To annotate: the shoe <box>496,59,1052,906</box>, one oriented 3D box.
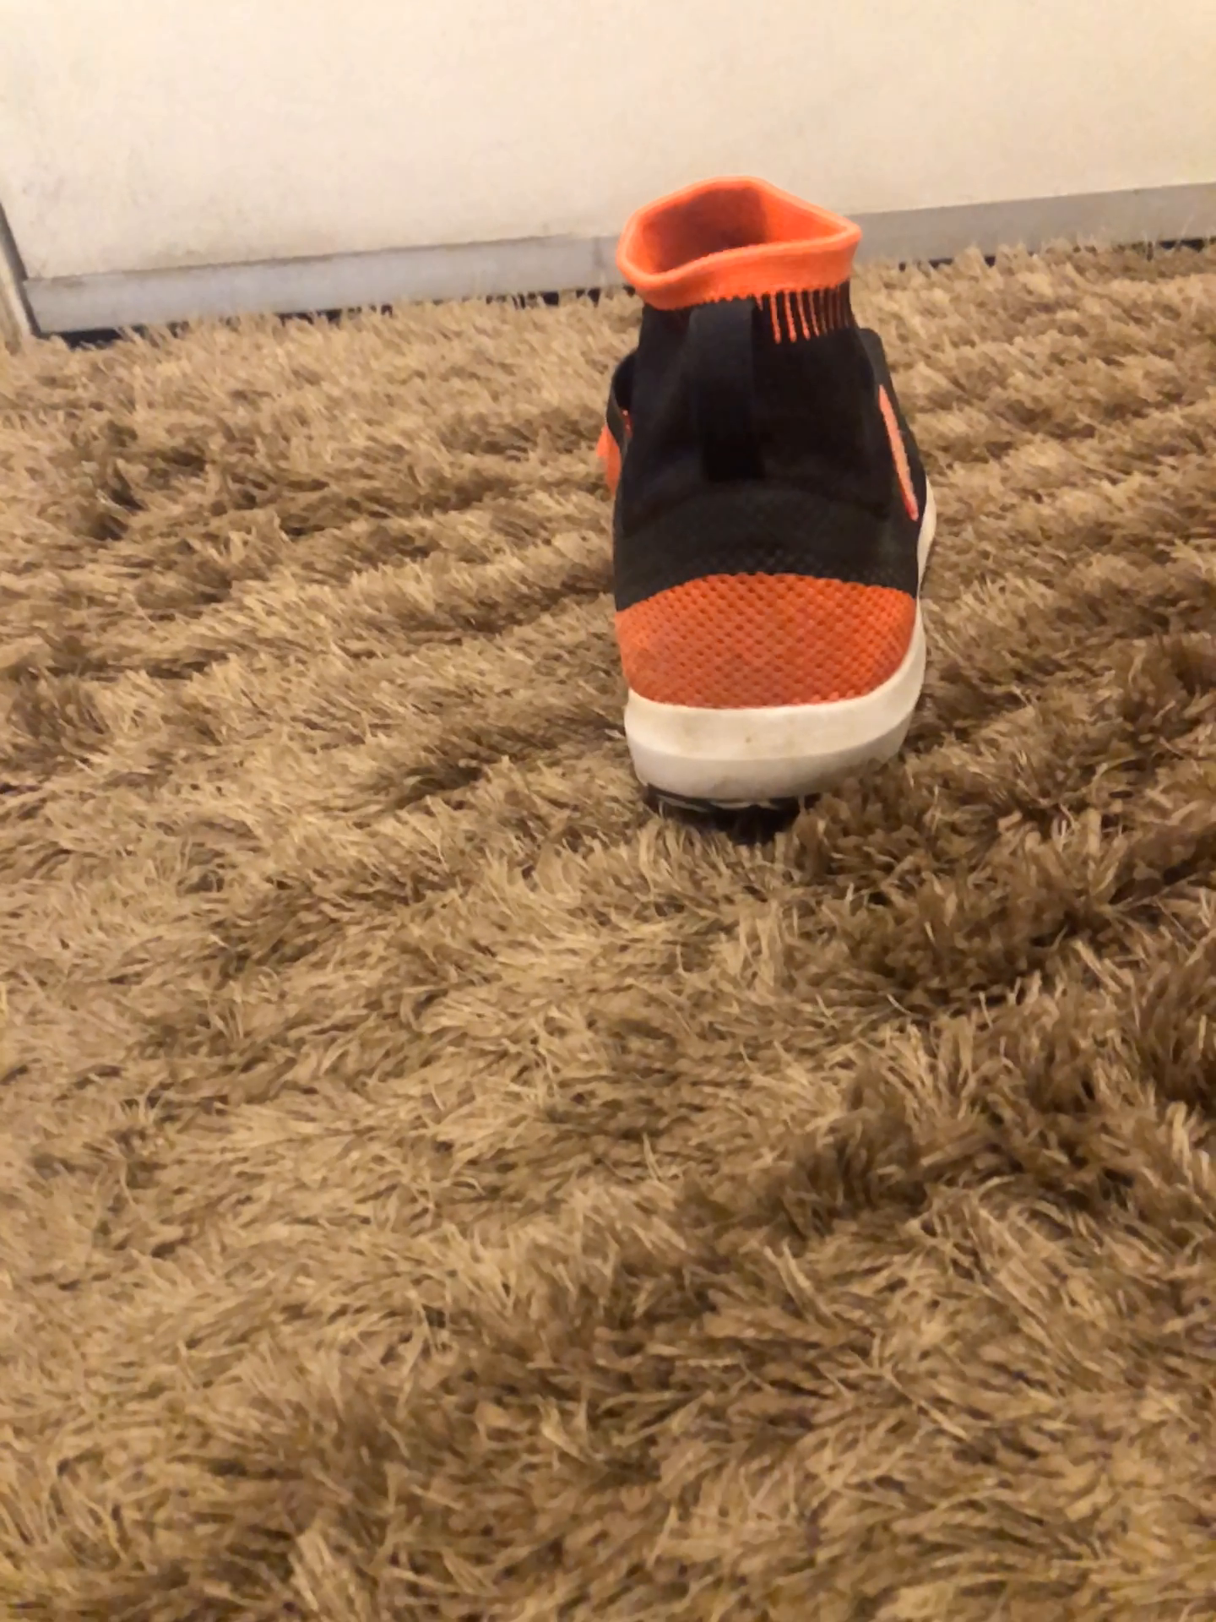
[{"bbox_3d":[0.056,-0.126,0.427,0.110,0.139,0.305,0,39,9],"label":"shoe"}]
